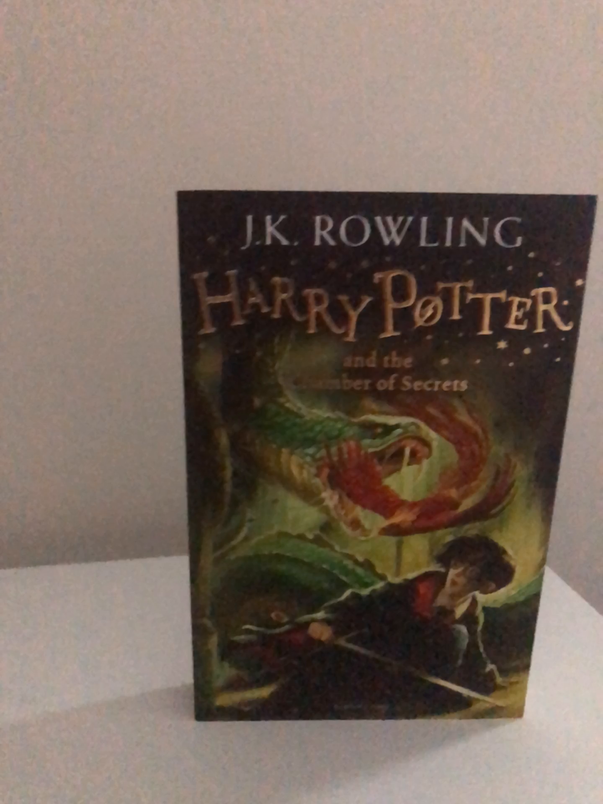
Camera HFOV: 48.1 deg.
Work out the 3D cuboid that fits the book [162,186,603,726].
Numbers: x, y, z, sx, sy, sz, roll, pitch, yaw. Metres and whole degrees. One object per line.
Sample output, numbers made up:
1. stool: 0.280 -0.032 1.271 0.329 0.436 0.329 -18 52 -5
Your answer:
1. book: 0.024 0.024 0.241 0.130 0.190 0.039 0 18 -1
